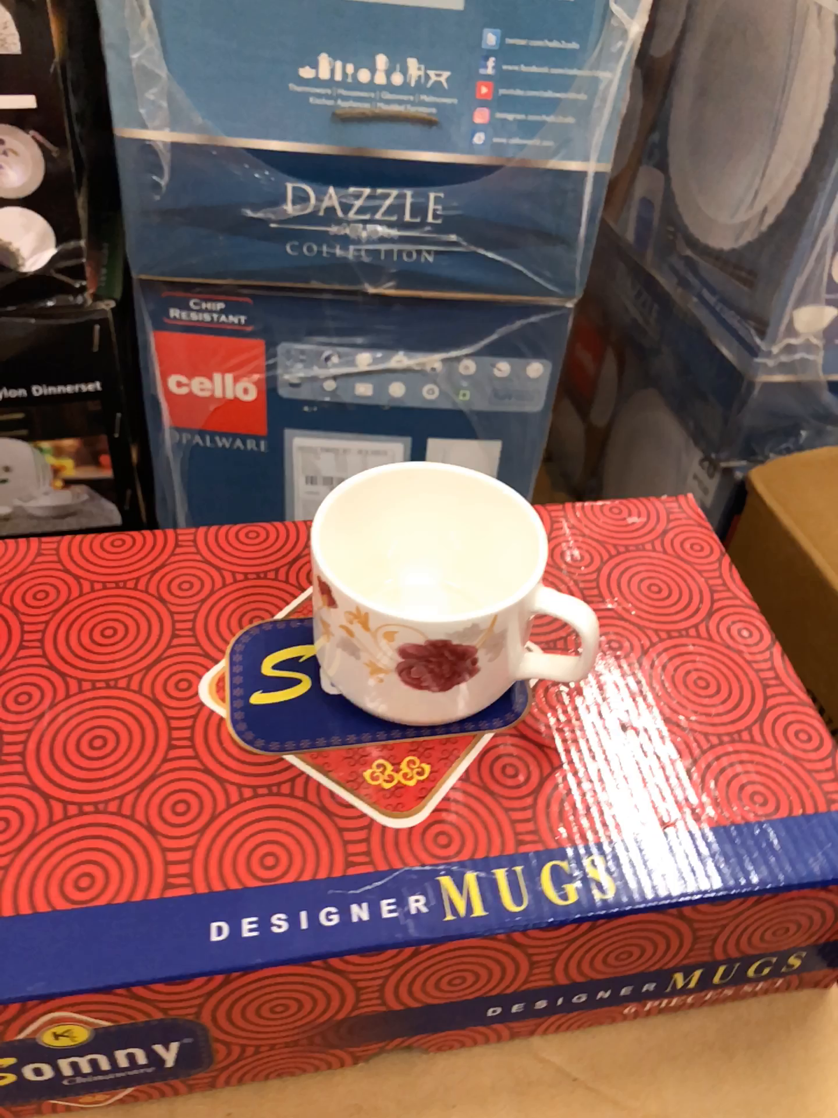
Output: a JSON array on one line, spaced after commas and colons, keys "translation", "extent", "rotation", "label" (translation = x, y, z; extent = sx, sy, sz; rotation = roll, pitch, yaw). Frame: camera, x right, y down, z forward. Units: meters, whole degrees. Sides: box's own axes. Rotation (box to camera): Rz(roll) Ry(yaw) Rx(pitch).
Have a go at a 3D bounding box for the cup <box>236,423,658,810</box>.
[{"translation": [0.010, 0.012, 0.287], "extent": [0.100, 0.050, 0.081], "rotation": [19, 42, 15], "label": "cup"}]
